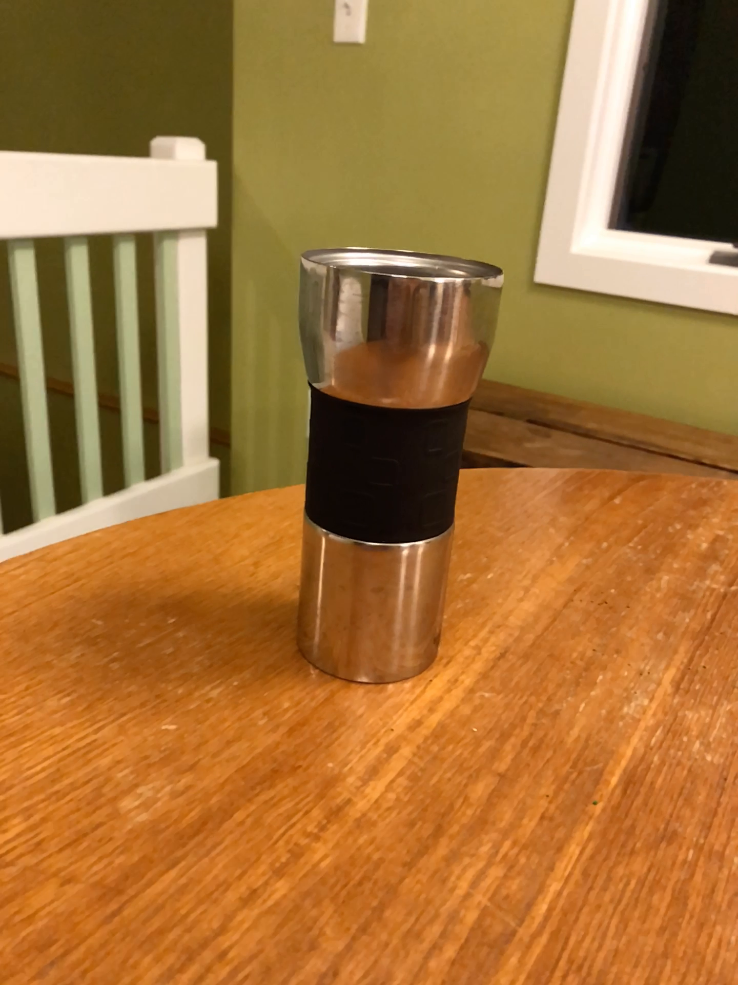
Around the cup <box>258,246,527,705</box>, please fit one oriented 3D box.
[{"bbox_3d":[0.010,-0.013,0.365,0.083,0.173,0.088,4,22,-2],"label":"cup"}]
